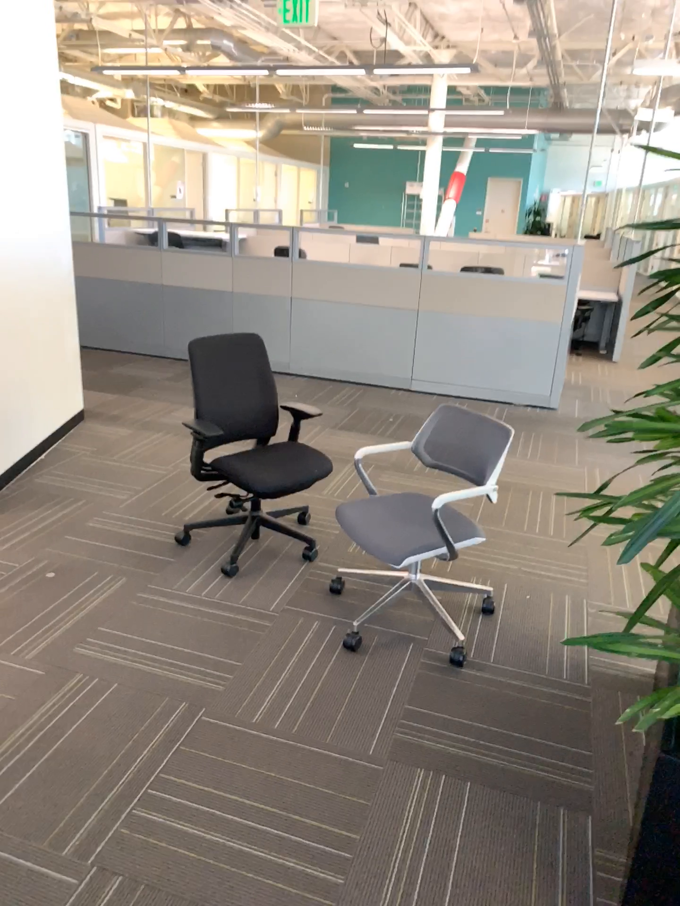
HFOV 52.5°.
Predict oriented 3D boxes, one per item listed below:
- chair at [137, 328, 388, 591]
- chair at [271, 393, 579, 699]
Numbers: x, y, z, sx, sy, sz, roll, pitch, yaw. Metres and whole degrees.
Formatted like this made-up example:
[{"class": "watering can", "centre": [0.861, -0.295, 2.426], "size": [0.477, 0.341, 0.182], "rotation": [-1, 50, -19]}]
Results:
[{"class": "chair", "centre": [-0.388, -0.046, 3.240], "size": [0.800, 0.886, 0.854], "rotation": [-11, 24, -35]}, {"class": "chair", "centre": [0.285, 0.275, 2.685], "size": [0.790, 0.756, 0.804], "rotation": [-10, 24, -34]}]
